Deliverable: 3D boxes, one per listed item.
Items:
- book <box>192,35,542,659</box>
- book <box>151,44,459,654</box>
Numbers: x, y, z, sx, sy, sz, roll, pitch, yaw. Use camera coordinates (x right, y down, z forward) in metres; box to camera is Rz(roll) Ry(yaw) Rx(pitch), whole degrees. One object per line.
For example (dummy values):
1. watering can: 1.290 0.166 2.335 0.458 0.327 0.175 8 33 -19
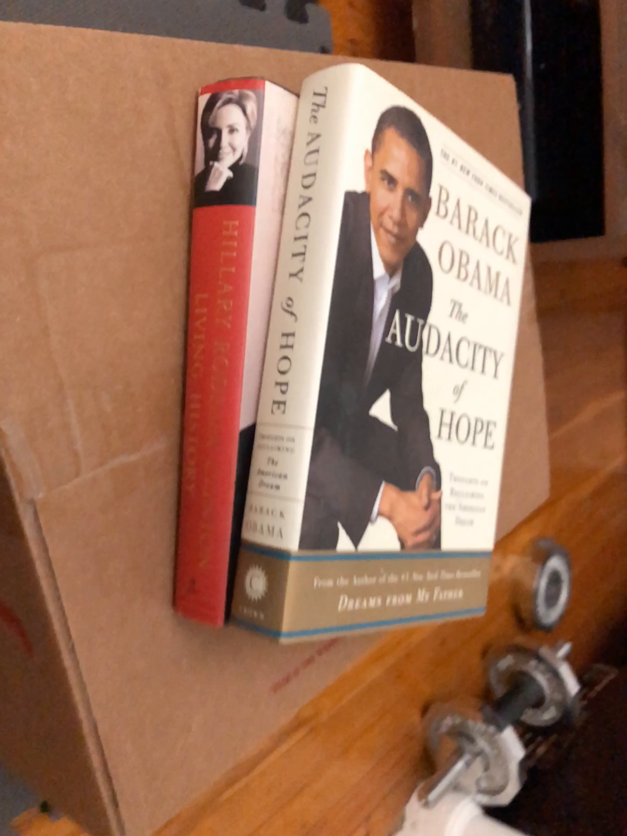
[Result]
1. book: 0.044 -0.020 0.359 0.191 0.040 0.250 11 85 -47
2. book: 0.006 -0.027 0.363 0.171 0.040 0.250 2 92 -47
